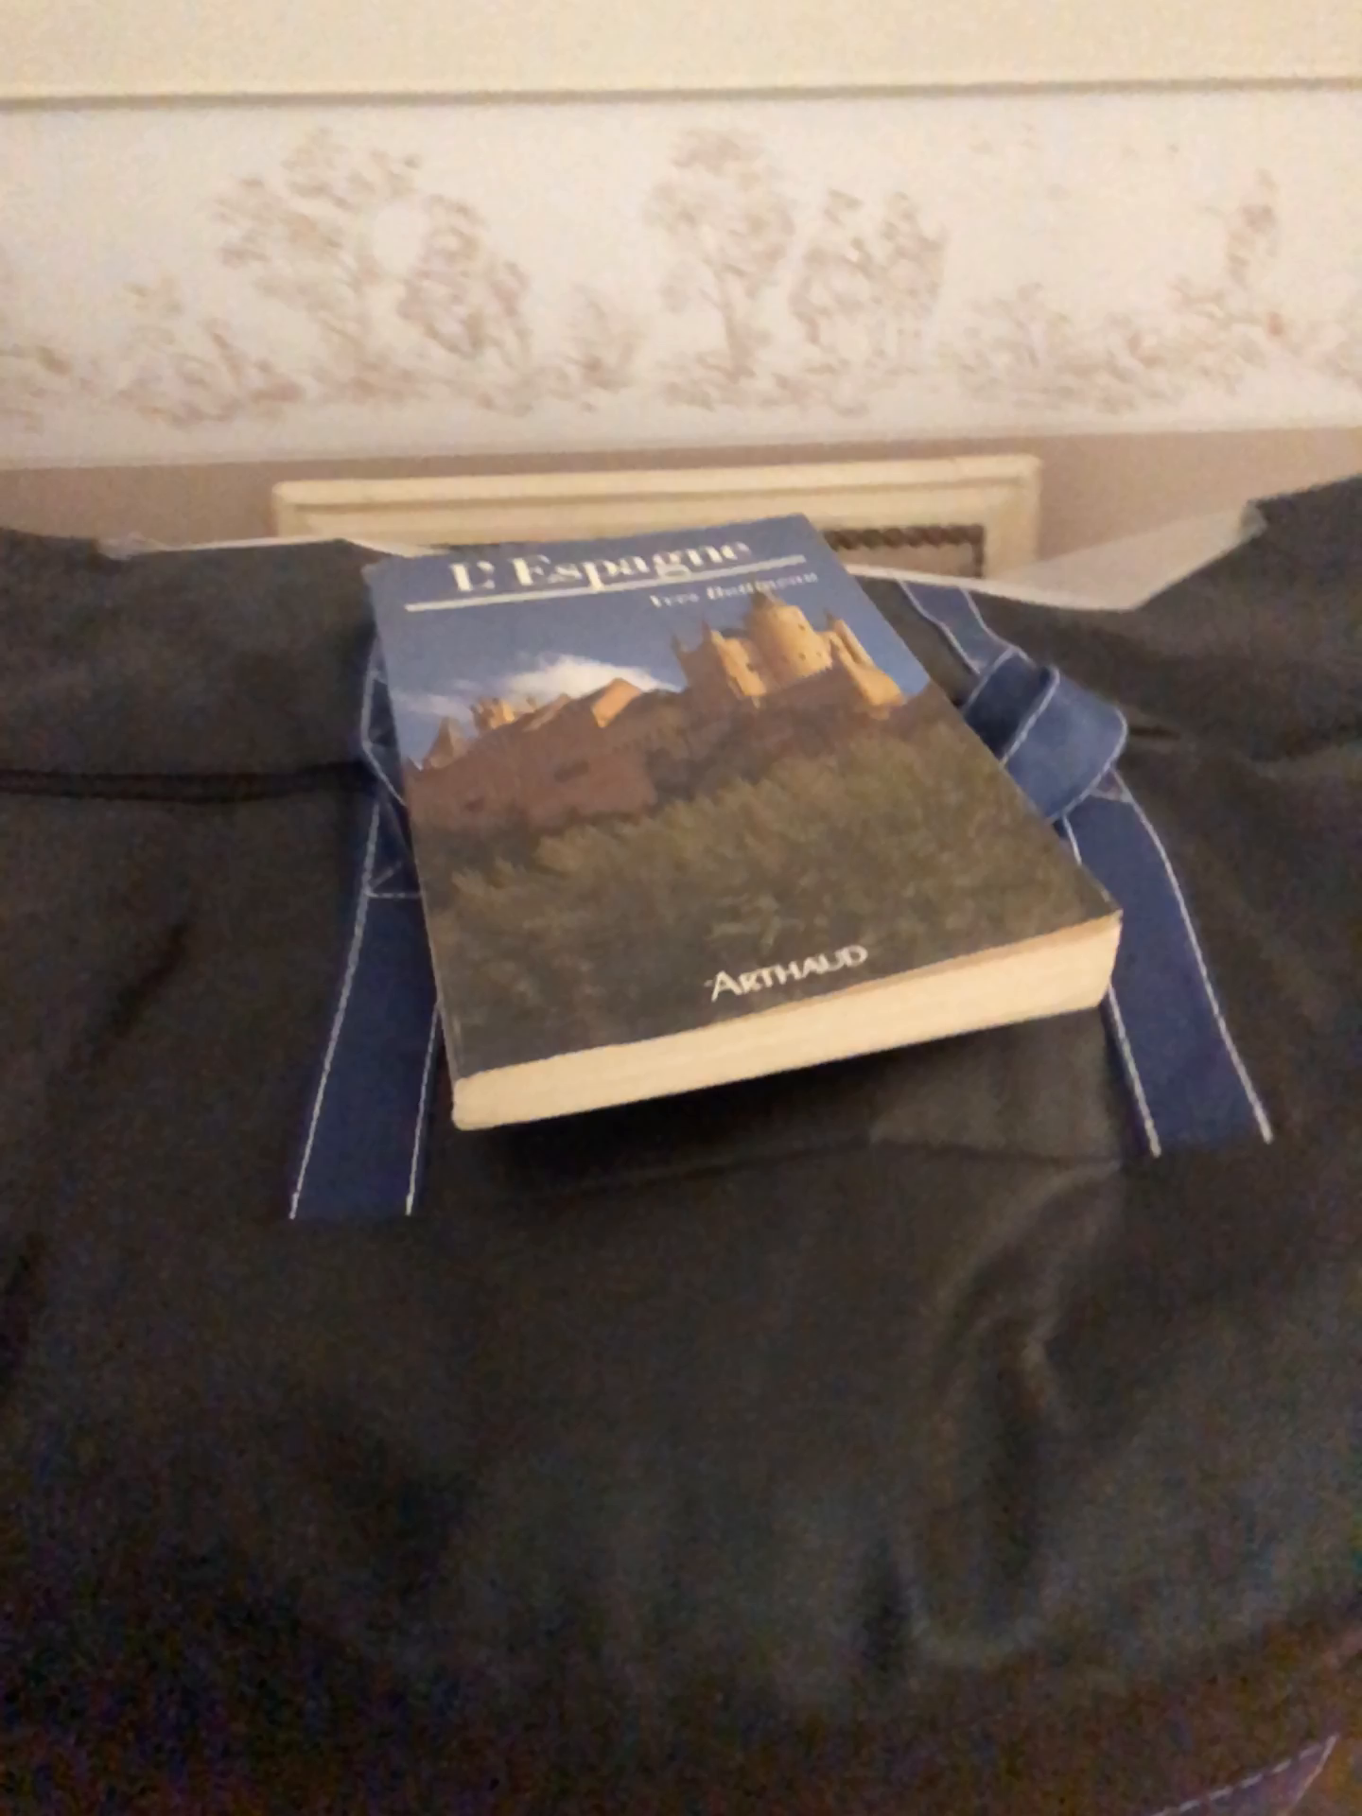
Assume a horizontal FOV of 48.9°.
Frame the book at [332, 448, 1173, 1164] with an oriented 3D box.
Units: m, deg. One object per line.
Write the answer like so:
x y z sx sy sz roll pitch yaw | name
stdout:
-0.001 -0.052 0.428 0.170 0.030 0.251 -12 43 -9 | book
